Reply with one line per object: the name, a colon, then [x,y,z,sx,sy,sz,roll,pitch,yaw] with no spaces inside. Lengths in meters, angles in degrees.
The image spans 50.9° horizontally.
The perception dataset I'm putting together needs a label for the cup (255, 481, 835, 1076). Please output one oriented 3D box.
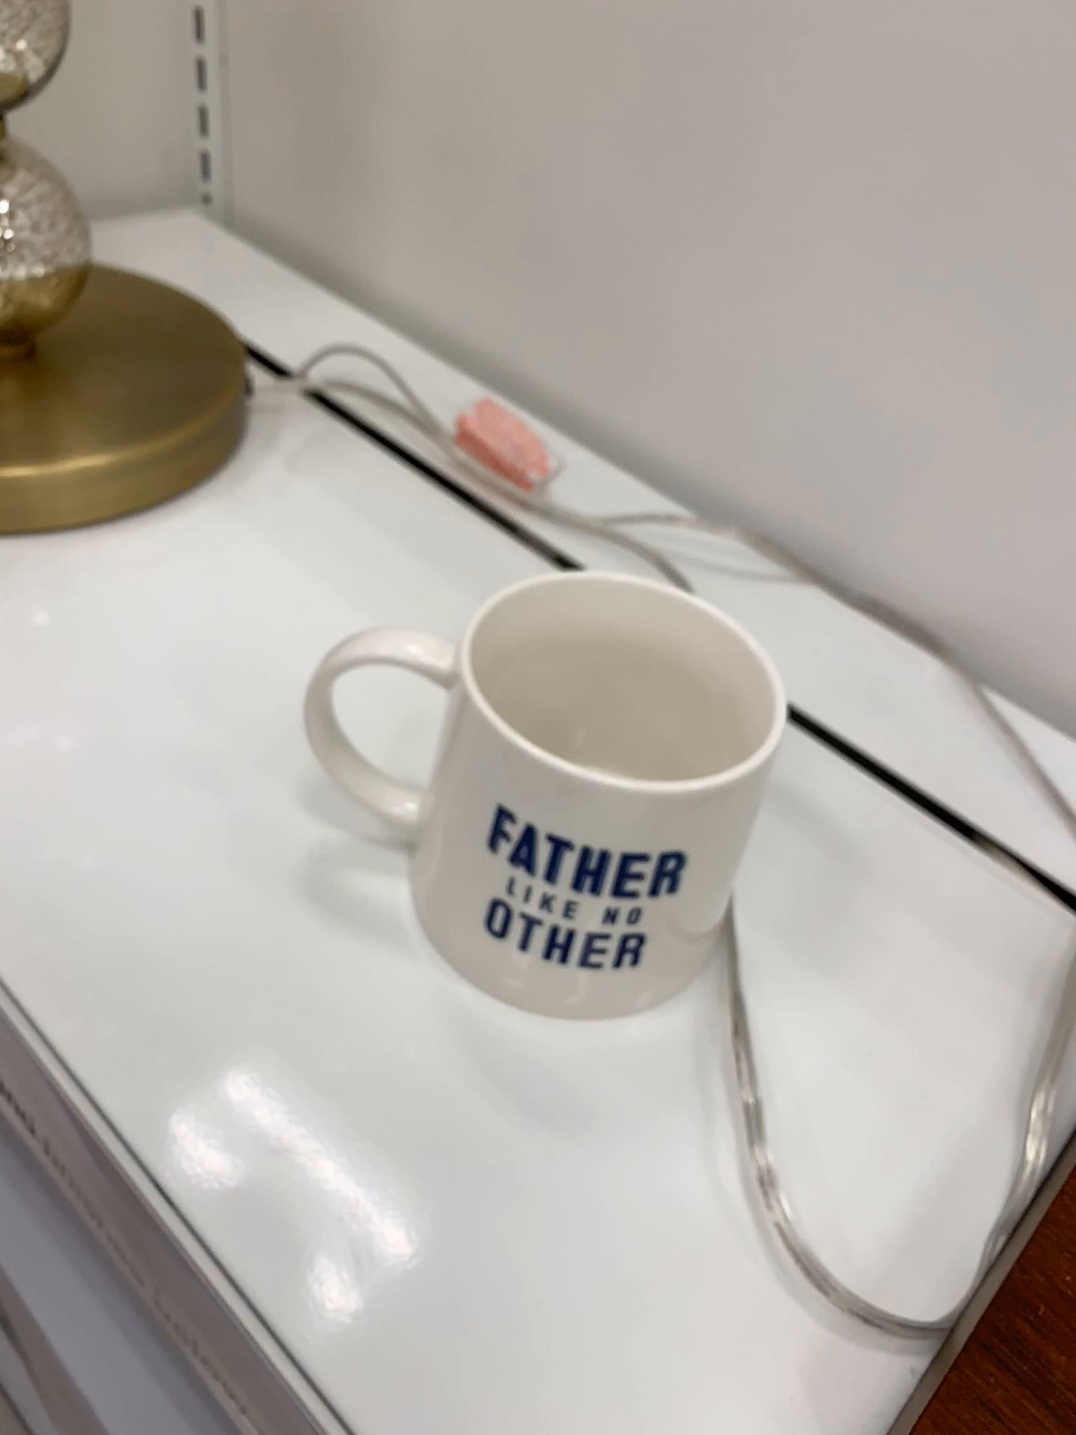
cup: [0.004,0.018,0.389,0.160,0.119,0.121,14,42,3]
